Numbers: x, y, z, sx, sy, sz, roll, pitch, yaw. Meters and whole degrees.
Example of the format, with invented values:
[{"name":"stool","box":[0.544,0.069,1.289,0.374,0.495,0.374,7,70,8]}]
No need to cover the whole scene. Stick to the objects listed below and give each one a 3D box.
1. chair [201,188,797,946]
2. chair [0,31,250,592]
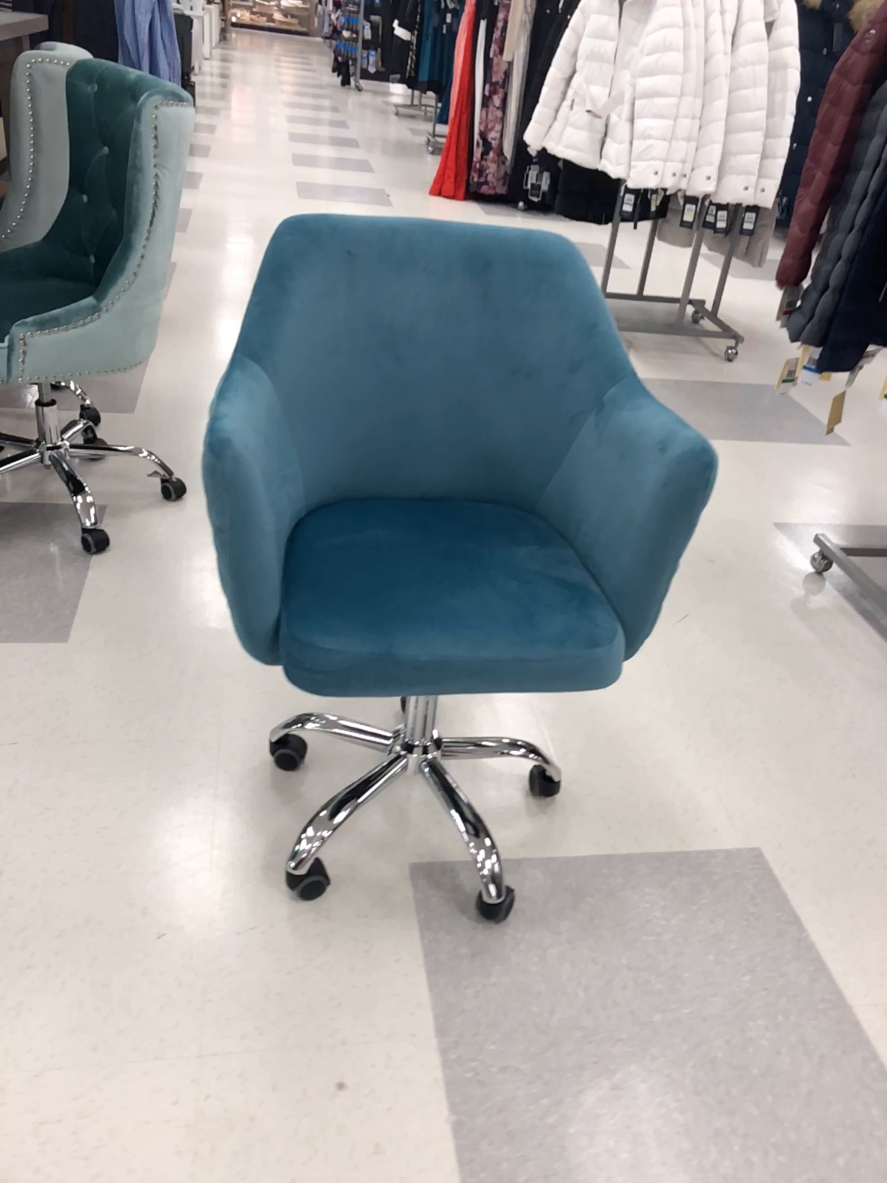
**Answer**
[{"name":"chair","box":[-0.017,-0.033,1.405,0.594,0.887,0.565,1,31,-10]},{"name":"chair","box":[-0.908,-0.661,2.217,0.653,0.967,0.737,-15,37,-33]}]
